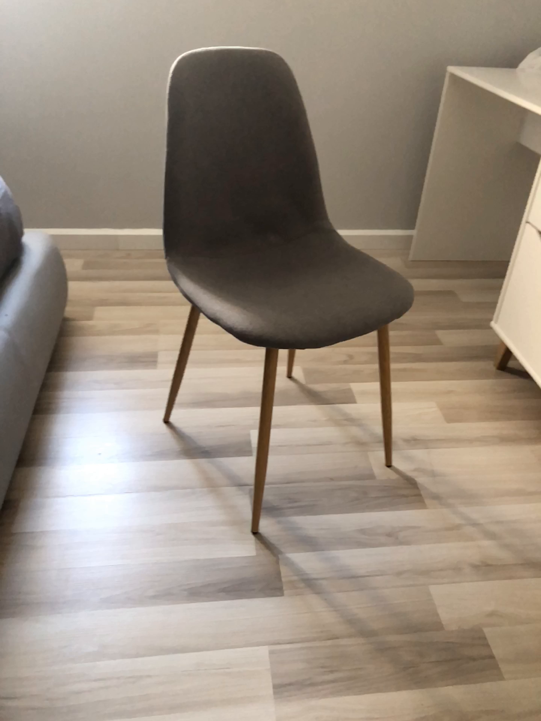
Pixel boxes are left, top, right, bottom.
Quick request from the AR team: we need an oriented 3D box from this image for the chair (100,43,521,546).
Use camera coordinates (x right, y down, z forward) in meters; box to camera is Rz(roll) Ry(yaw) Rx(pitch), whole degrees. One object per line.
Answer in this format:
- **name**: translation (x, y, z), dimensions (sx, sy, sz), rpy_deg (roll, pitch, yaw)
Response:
- **chair**: translation (0.022, -0.177, 1.224), dimensions (0.472, 0.785, 0.571), rpy_deg (-18, 39, -29)
